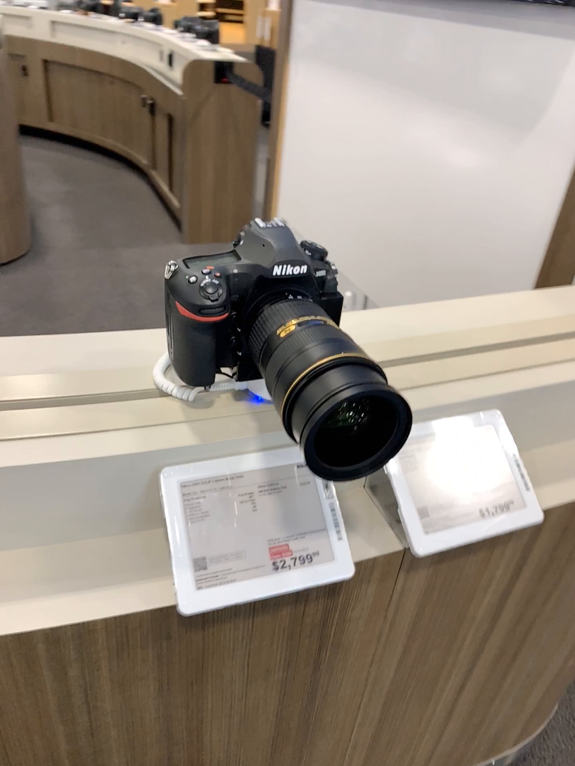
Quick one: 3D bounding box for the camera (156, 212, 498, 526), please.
[{"bbox_3d":[0.005,-0.034,0.453,0.160,0.109,0.241,-8,36,-20],"label":"camera"}]
